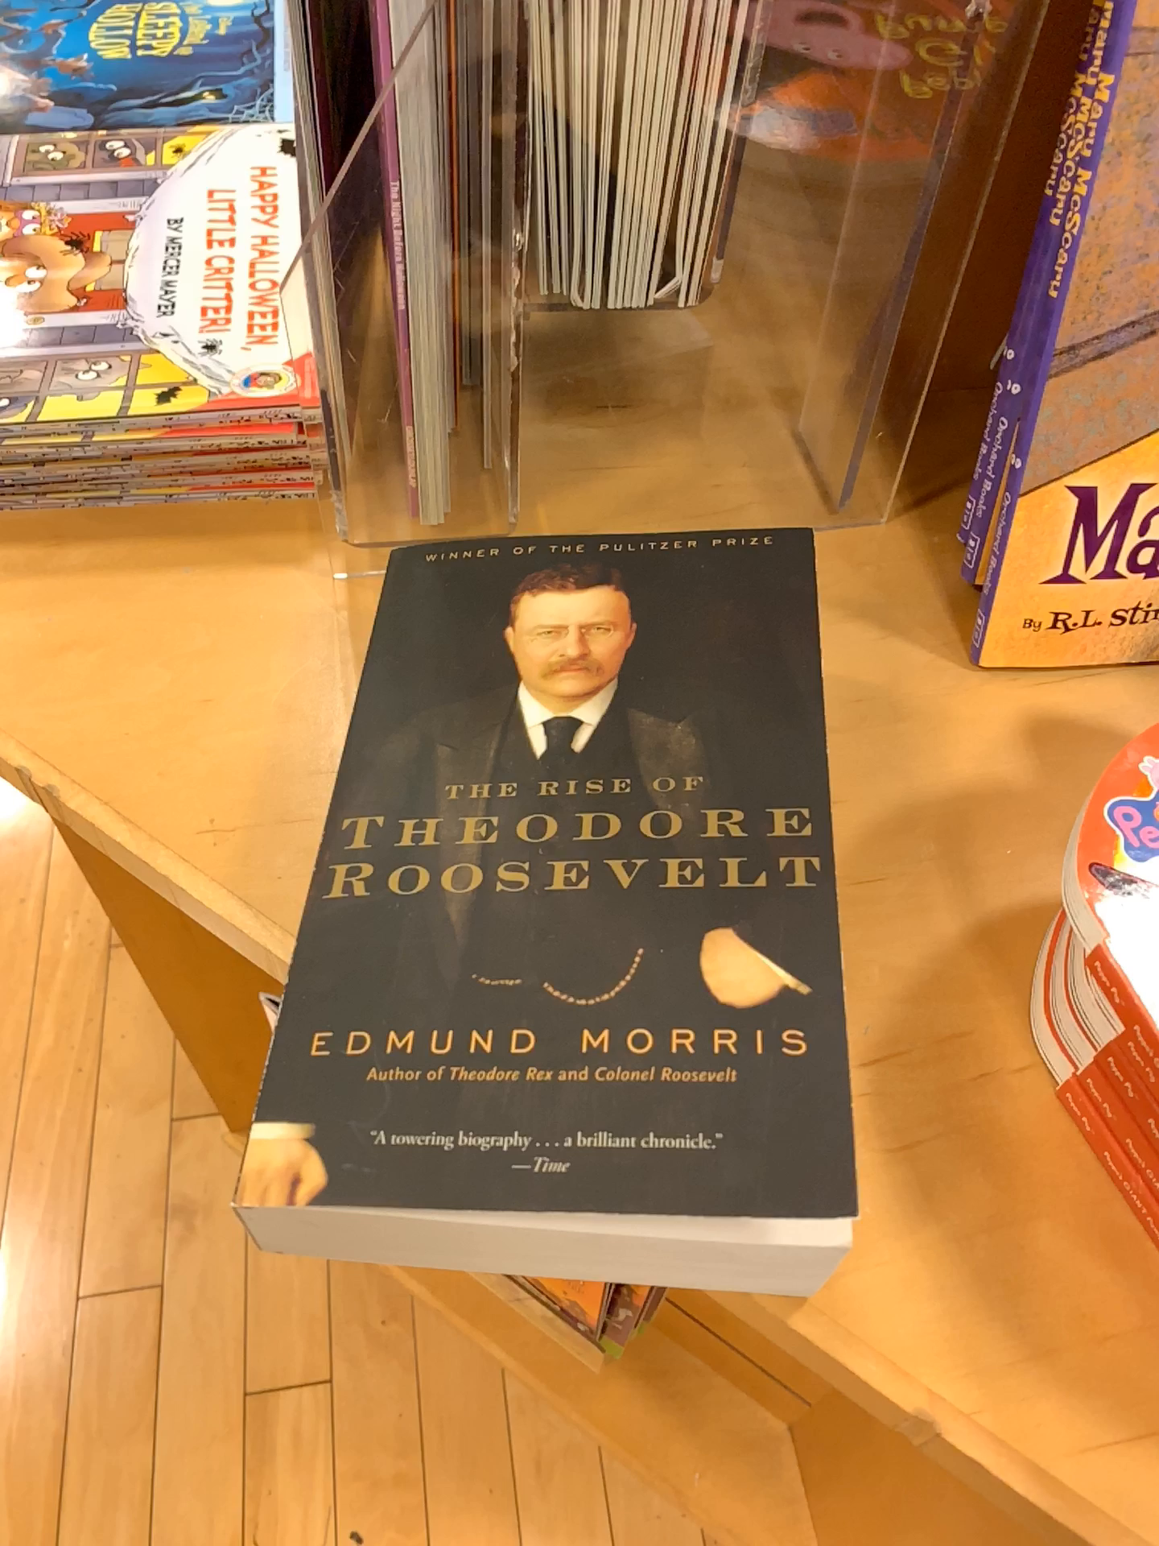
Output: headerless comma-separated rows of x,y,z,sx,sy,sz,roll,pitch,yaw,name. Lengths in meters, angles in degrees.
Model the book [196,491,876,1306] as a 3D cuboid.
-0.002,0.021,0.312,0.130,0.066,0.195,5,53,2,book
